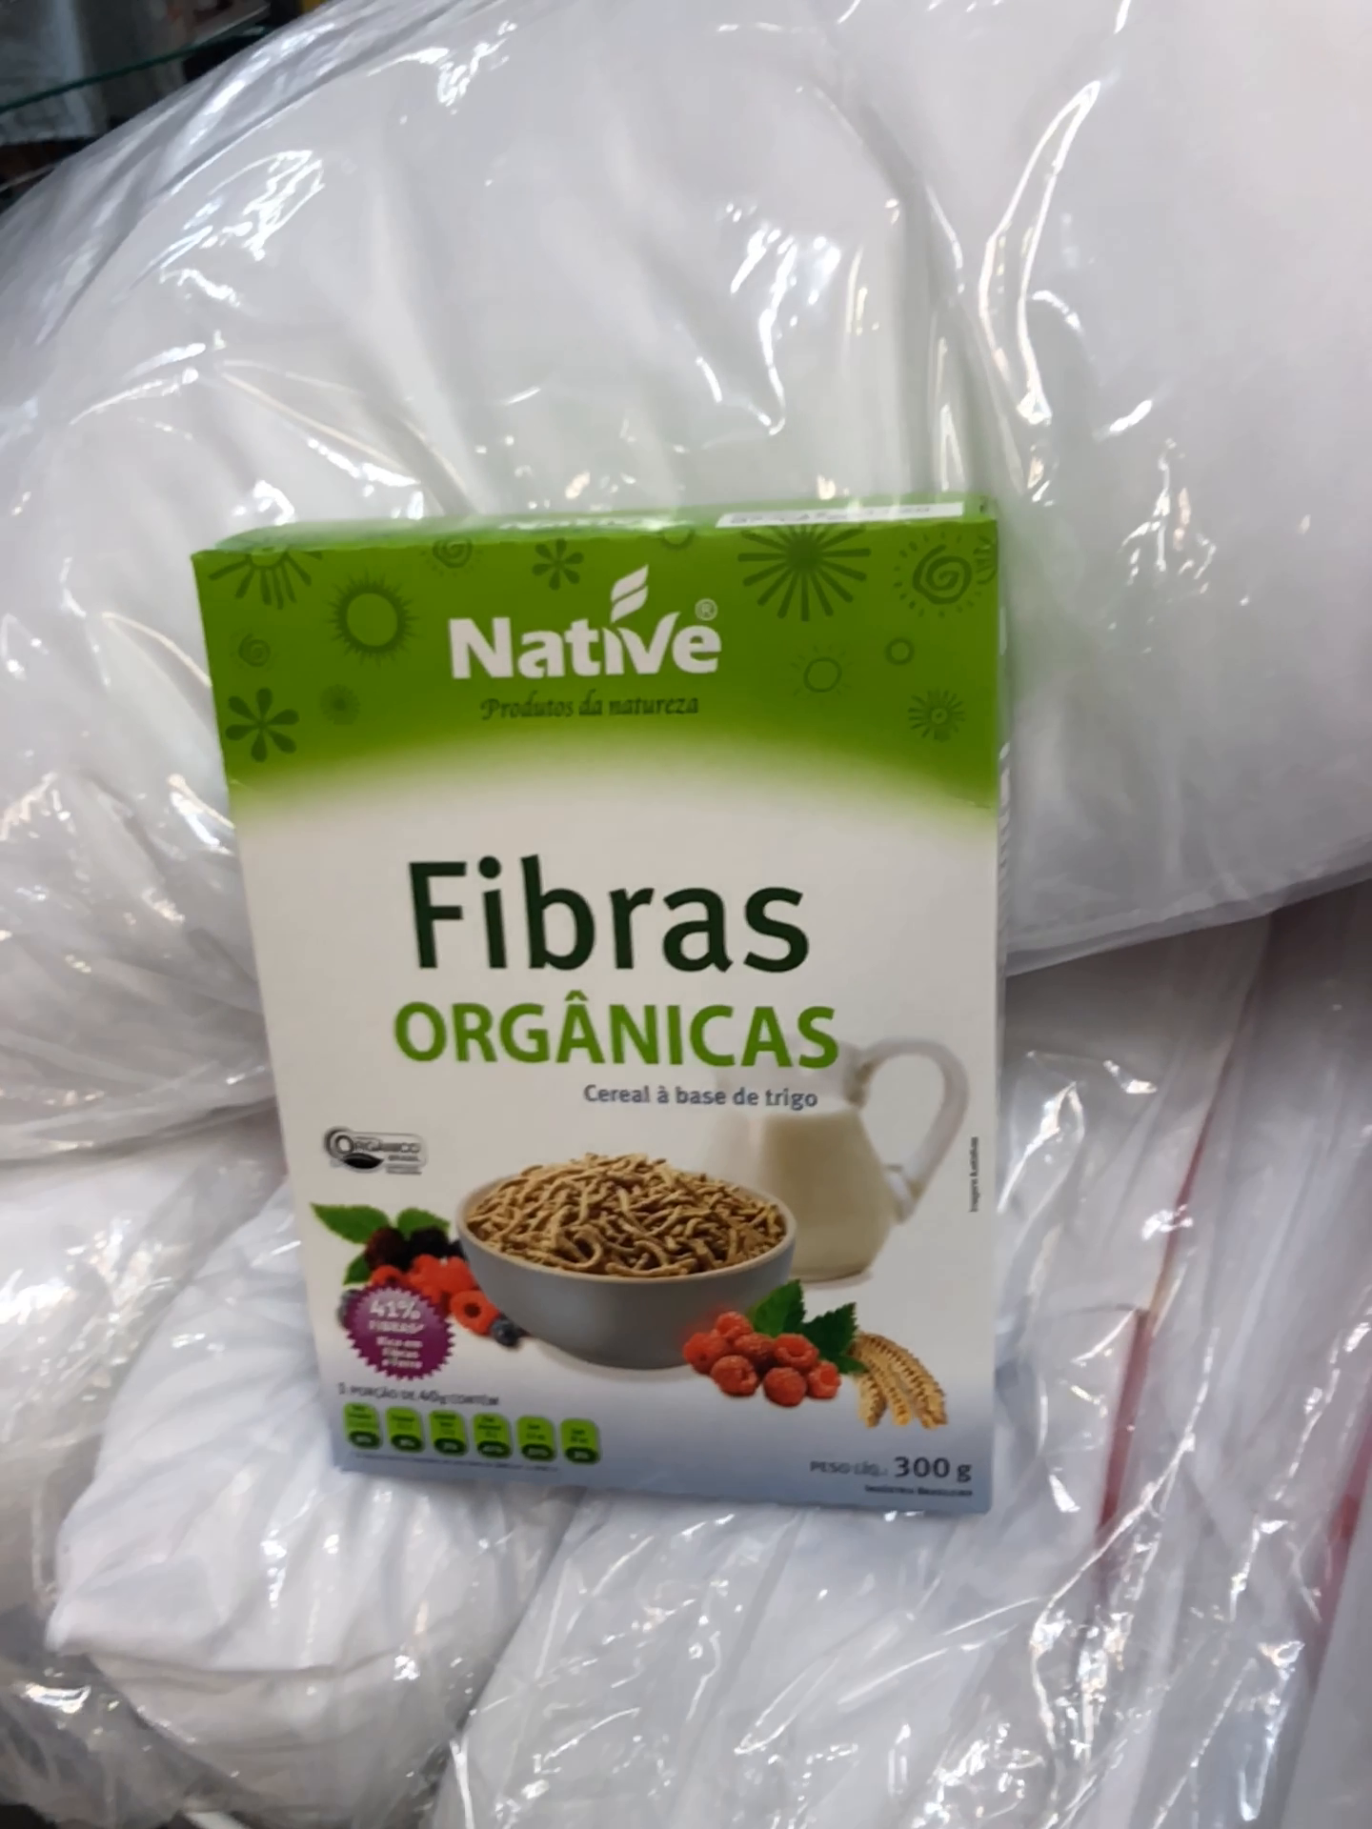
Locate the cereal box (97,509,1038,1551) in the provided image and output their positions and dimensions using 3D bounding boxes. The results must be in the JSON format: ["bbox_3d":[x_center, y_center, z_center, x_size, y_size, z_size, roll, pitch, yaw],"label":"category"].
[{"bbox_3d":[-0.016,0.029,0.363,0.190,0.229,0.060,0,20,11],"label":"cereal box"}]
